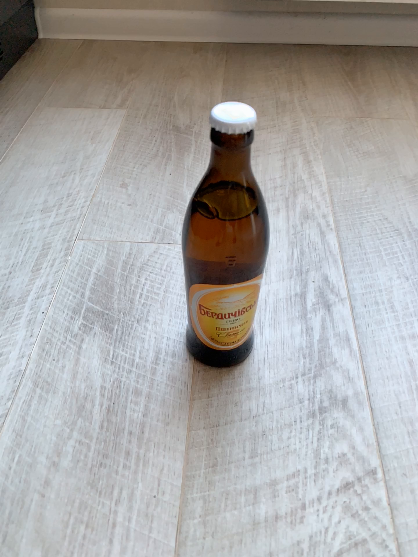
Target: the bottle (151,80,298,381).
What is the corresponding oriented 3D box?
[{"bbox_3d":[0.005,-0.015,0.320,0.070,0.229,0.070,0,48,0],"label":"bottle"}]
